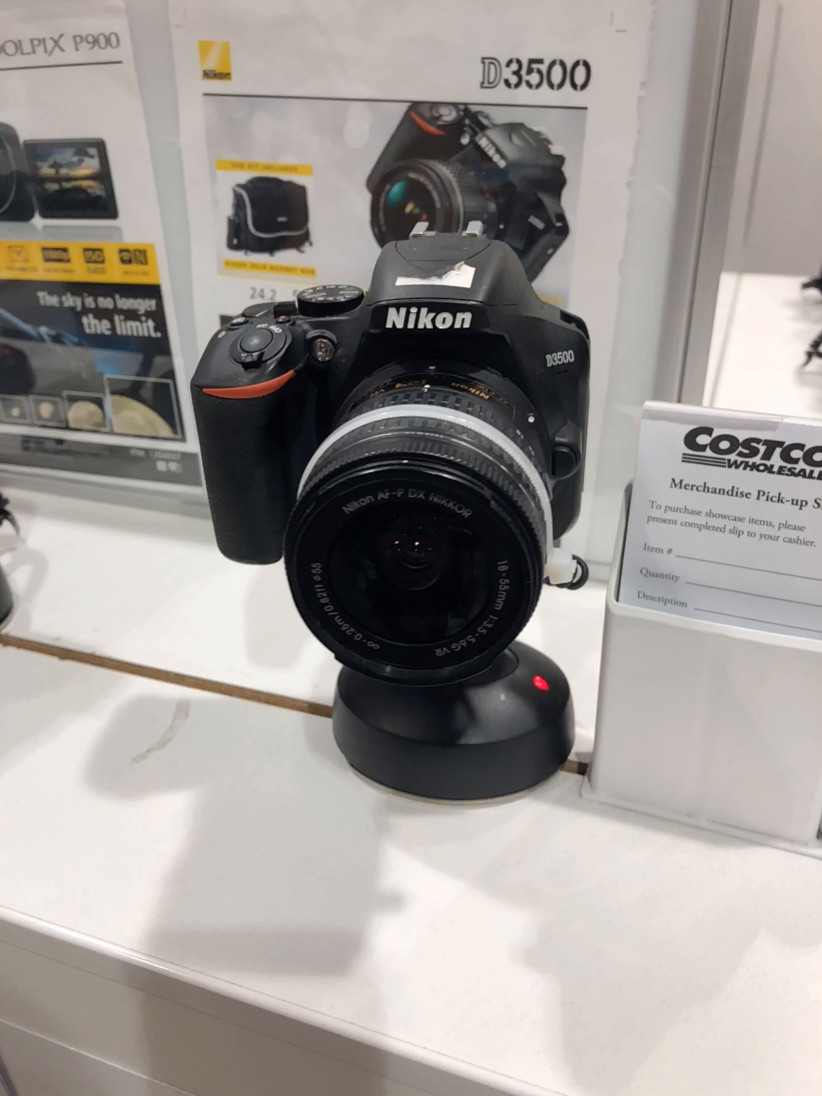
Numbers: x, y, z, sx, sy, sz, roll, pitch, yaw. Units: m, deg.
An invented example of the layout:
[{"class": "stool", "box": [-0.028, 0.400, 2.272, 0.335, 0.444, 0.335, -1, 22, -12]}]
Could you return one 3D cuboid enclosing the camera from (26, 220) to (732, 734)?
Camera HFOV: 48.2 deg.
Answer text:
[{"class": "camera", "box": [-0.003, -0.029, 0.257, 0.140, 0.100, 0.120, 1, 28, 5]}]
